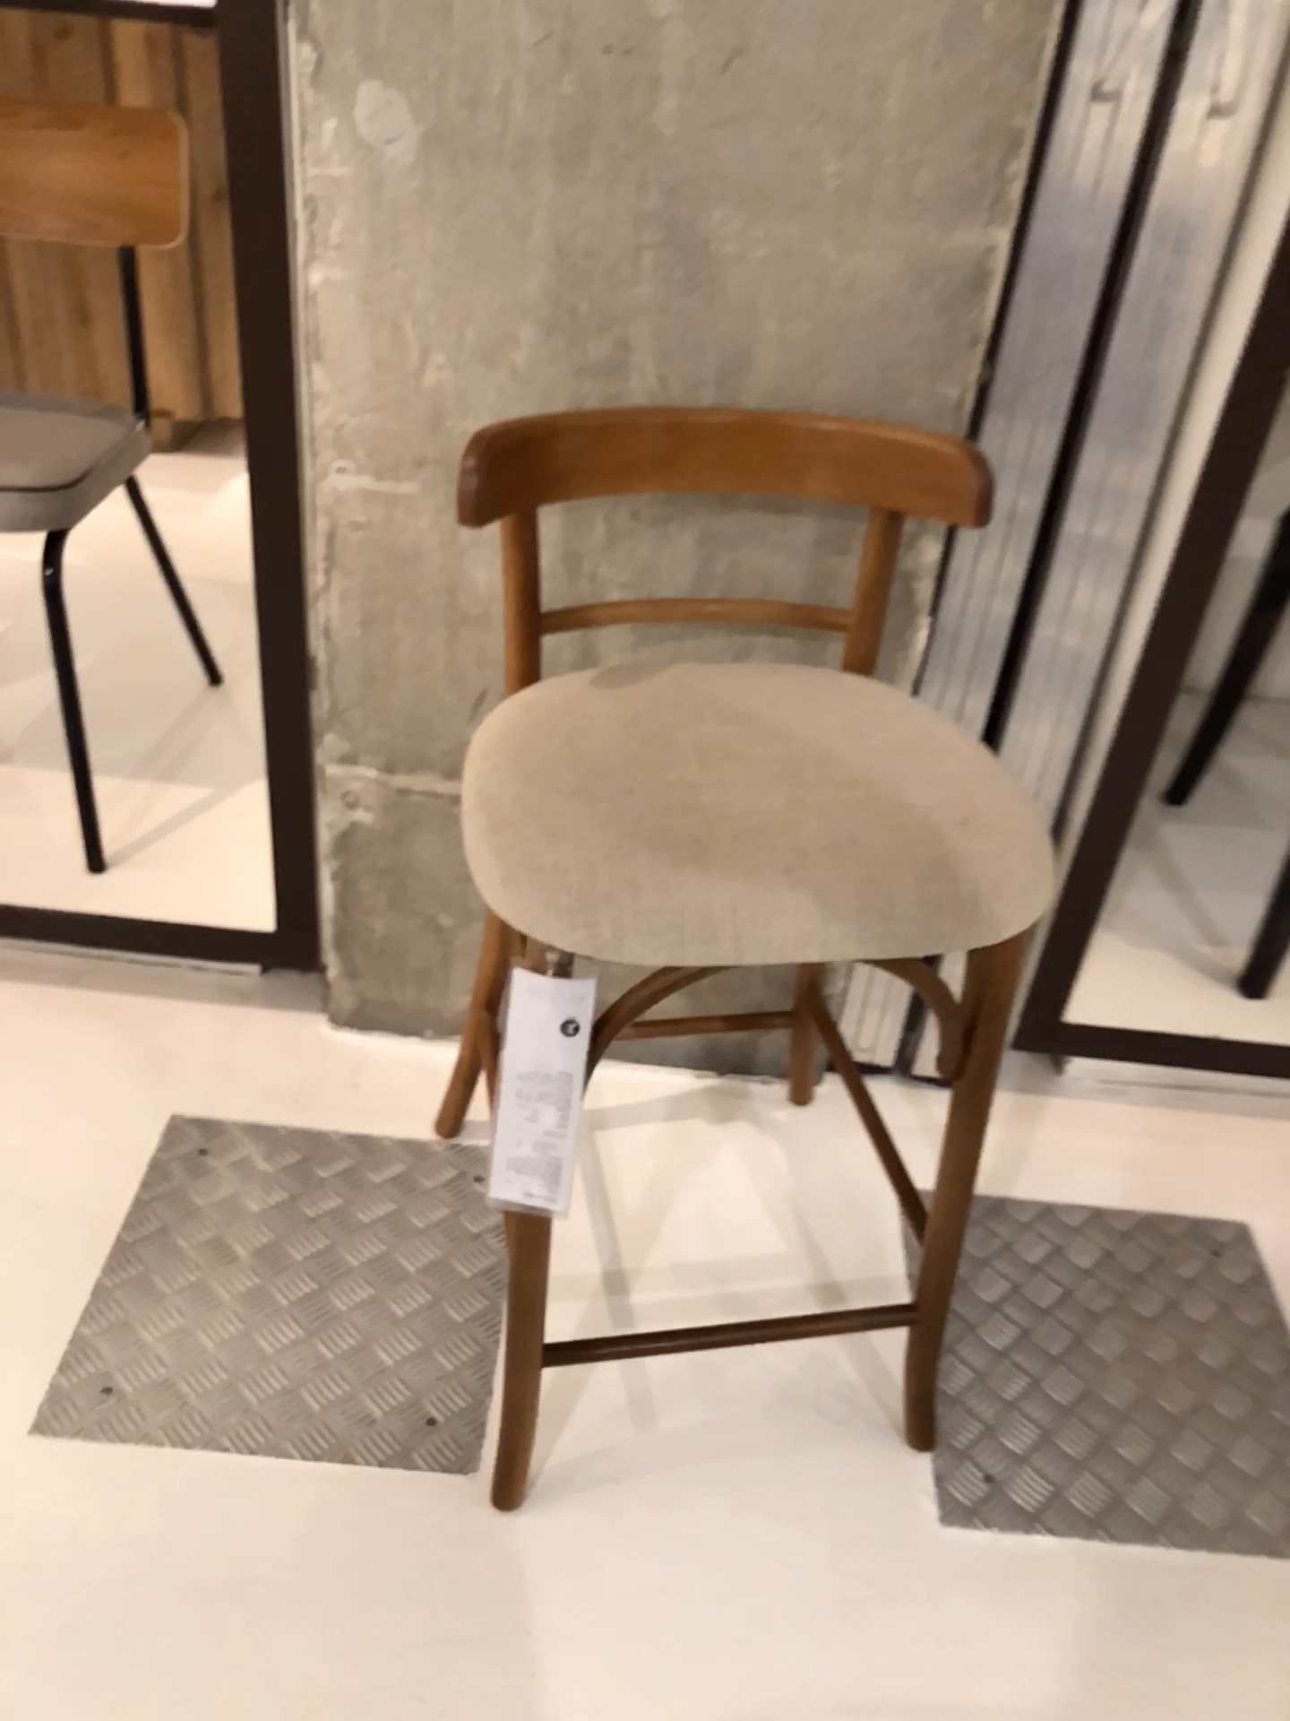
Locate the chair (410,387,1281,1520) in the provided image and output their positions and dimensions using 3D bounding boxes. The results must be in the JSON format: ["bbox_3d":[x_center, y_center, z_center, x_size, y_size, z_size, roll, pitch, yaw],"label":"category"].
[{"bbox_3d":[0.063,0.083,1.238,0.490,0.813,0.483,-2,35,-13],"label":"chair"}]
